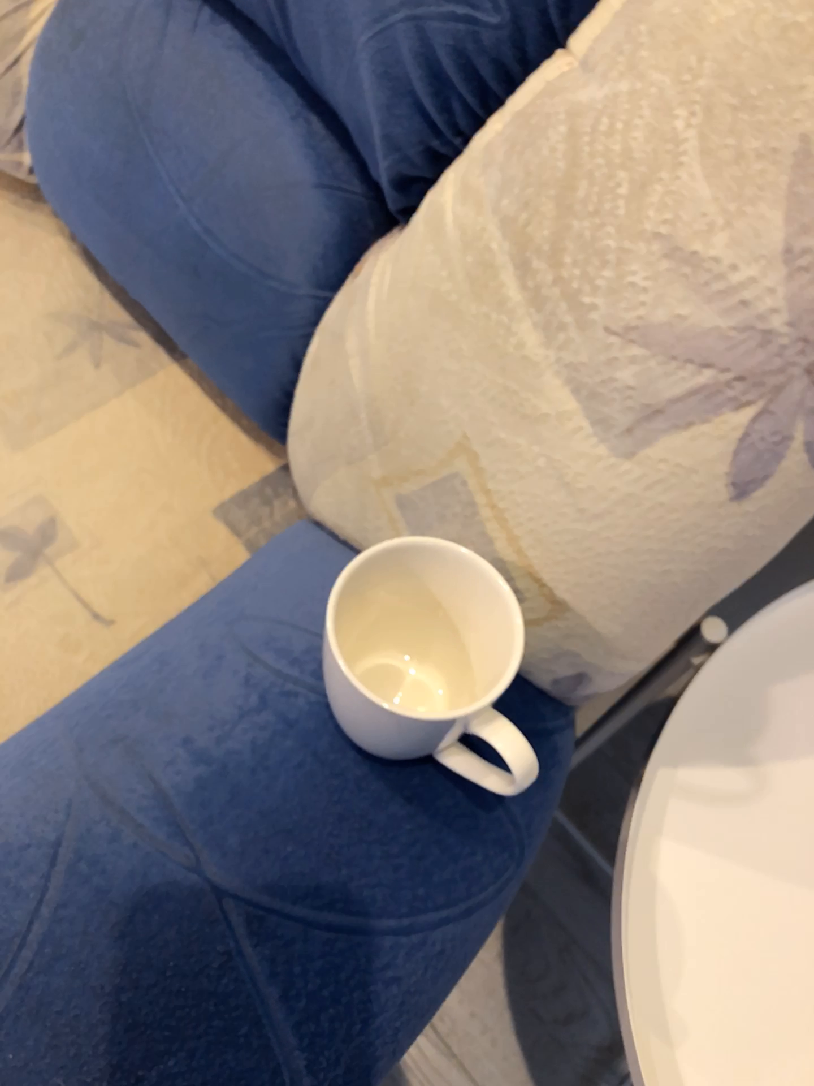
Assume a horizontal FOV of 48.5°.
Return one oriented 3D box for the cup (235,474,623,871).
[{"bbox_3d":[0.005,0.051,0.350,0.110,0.080,0.080,38,65,14],"label":"cup"}]
